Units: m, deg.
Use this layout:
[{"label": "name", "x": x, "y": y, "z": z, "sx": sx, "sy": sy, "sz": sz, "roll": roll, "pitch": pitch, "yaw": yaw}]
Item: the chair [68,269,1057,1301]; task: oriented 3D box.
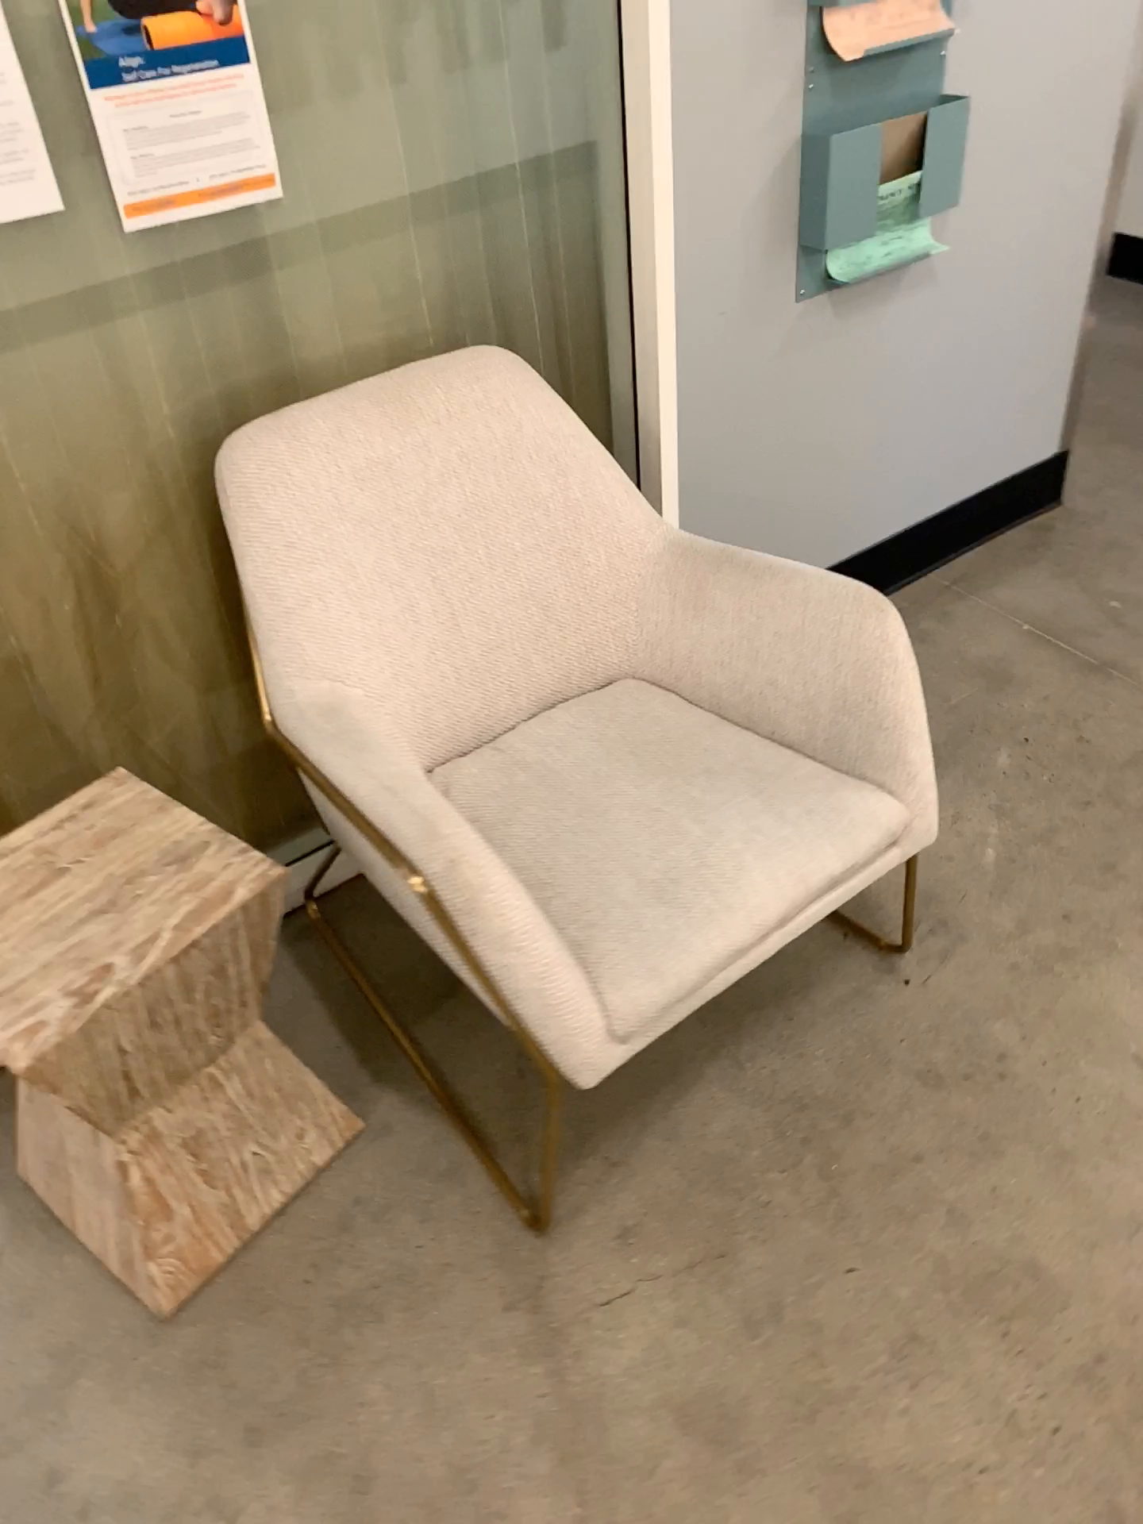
[{"label": "chair", "x": -0.004, "y": -0.041, "z": 1.550, "sx": 0.781, "sy": 0.865, "sz": 0.774, "roll": -30, "pitch": 44, "yaw": -28}]
